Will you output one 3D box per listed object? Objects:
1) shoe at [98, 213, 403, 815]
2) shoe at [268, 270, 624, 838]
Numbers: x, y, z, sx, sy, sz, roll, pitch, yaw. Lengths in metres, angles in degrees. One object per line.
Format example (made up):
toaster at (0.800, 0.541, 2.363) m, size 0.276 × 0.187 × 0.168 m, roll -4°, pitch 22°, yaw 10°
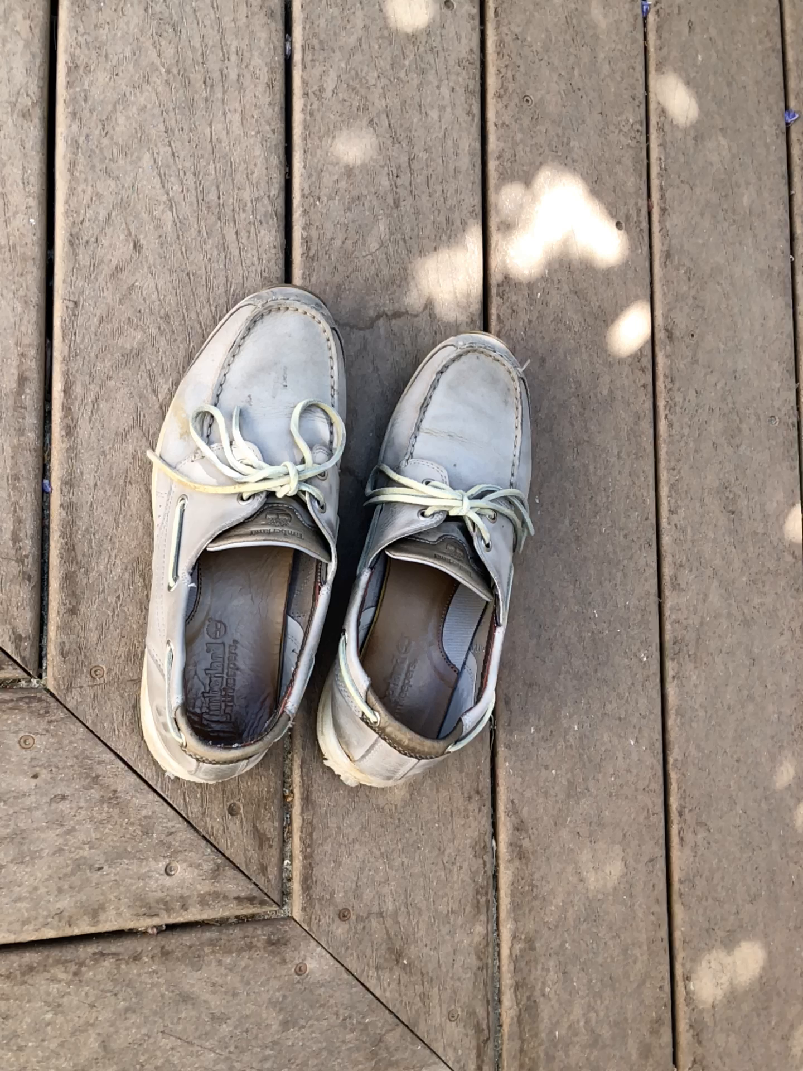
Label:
shoe at (-0.089, -0.008, 0.518) m, size 0.119 × 0.096 × 0.310 m, roll 9°, pitch 81°, yaw -20°
shoe at (0.029, 0.011, 0.563) m, size 0.122 × 0.097 × 0.312 m, roll 20°, pitch 78°, yaw -19°
